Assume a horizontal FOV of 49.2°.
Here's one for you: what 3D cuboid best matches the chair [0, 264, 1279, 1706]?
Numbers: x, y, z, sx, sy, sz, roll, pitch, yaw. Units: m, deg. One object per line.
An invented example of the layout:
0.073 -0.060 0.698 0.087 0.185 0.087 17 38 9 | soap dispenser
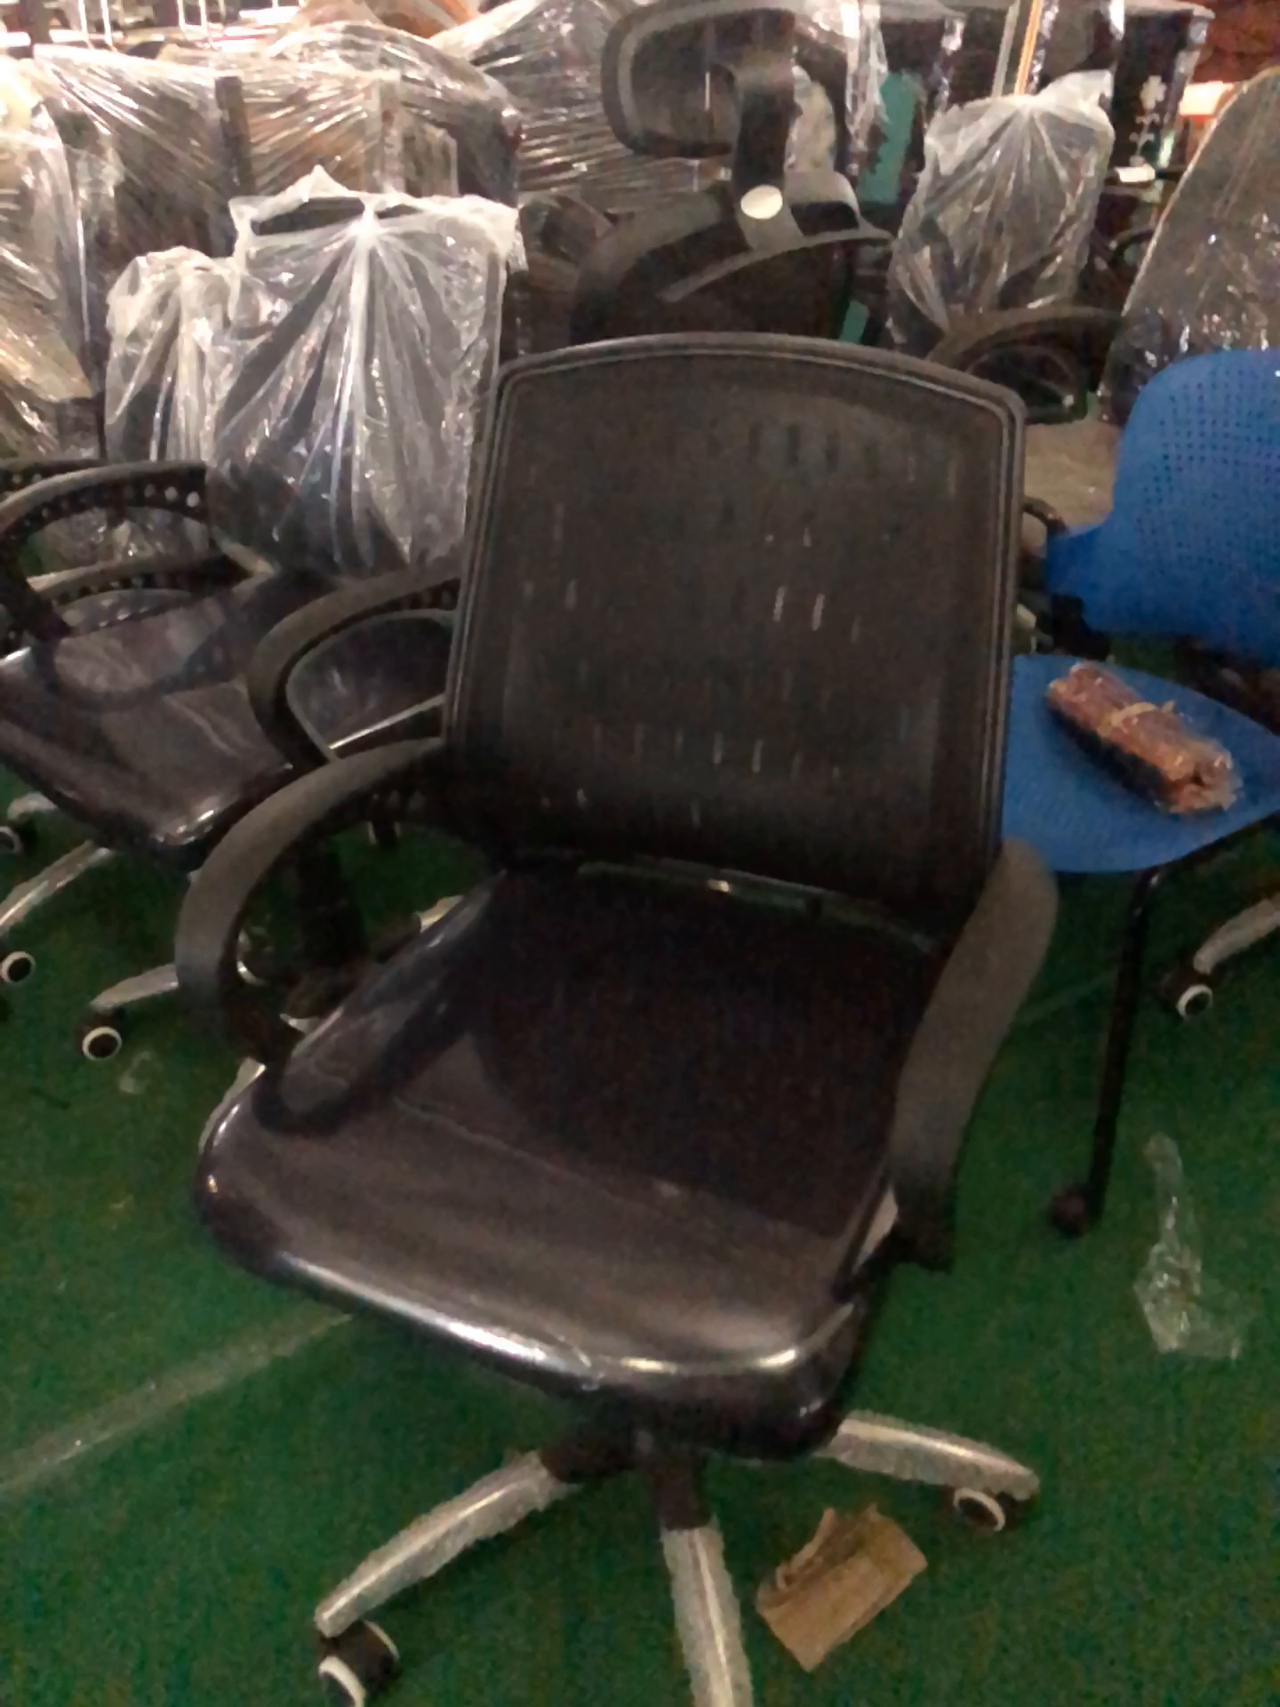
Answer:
0.071 0.153 1.132 0.730 0.995 0.875 11 36 22 | chair
